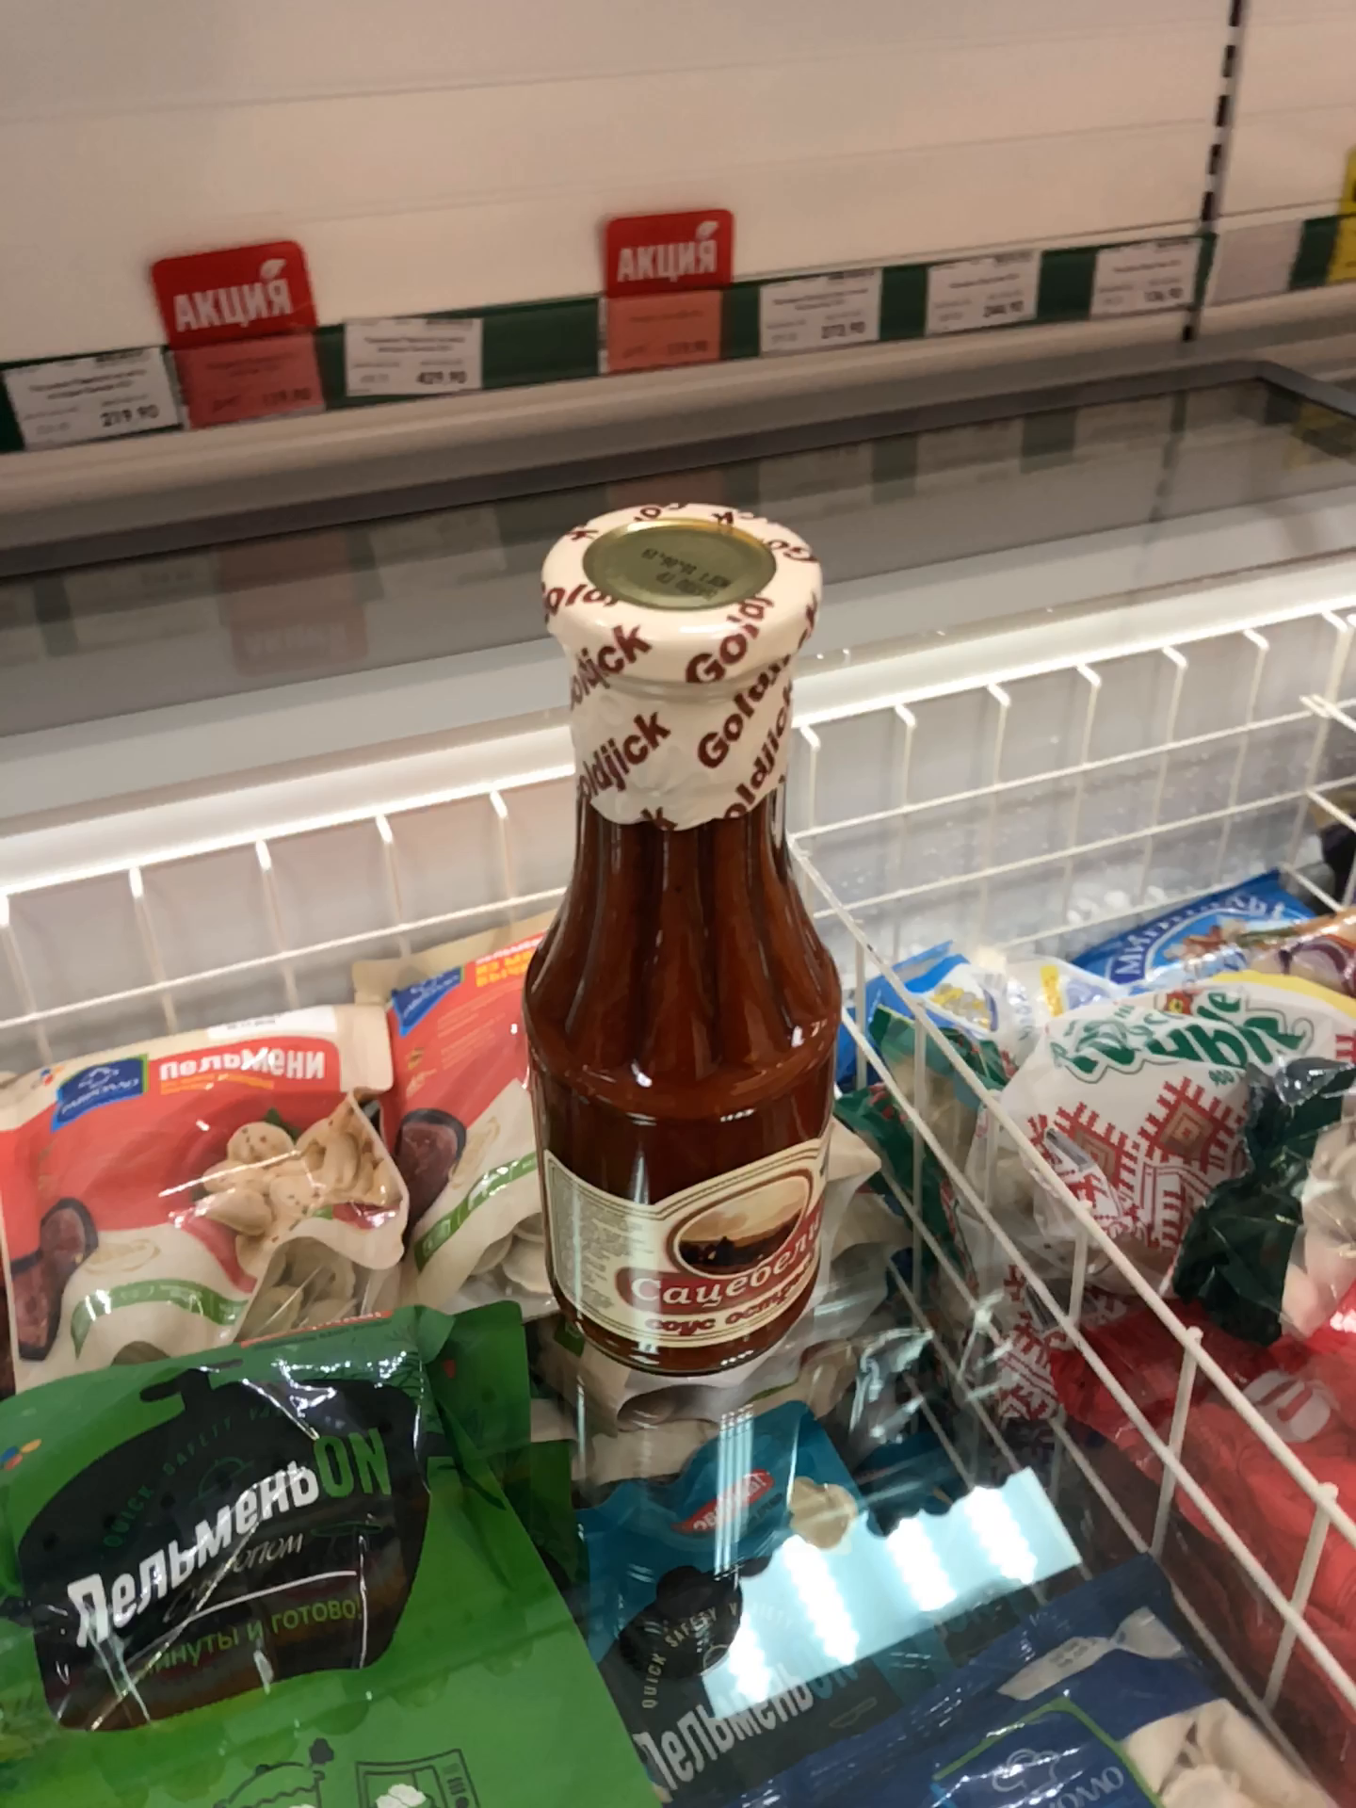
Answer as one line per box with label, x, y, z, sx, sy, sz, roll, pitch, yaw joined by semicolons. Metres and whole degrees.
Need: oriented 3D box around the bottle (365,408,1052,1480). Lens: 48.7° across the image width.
bottle;0.001;0.012;0.289;0.080;0.179;0.080;0;38;0
